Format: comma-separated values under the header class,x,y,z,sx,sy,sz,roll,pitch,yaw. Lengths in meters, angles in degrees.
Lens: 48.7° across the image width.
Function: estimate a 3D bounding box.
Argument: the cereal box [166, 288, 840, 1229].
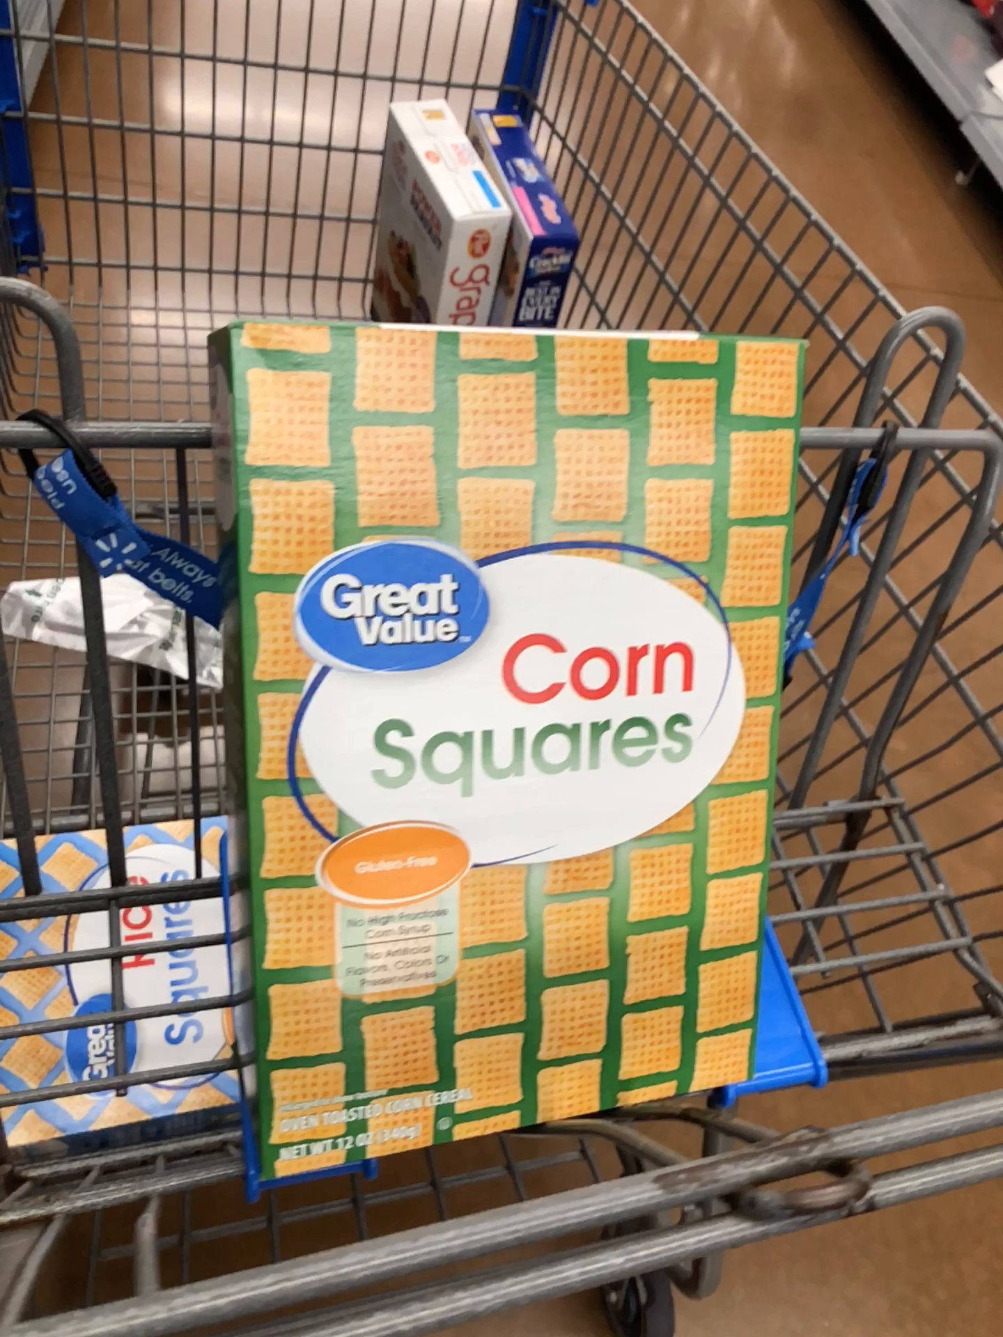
class,x,y,z,sx,sy,sz,roll,pitch,yaw
cereal box,0.001,0.024,0.380,0.200,0.280,0.070,-4,13,-18
